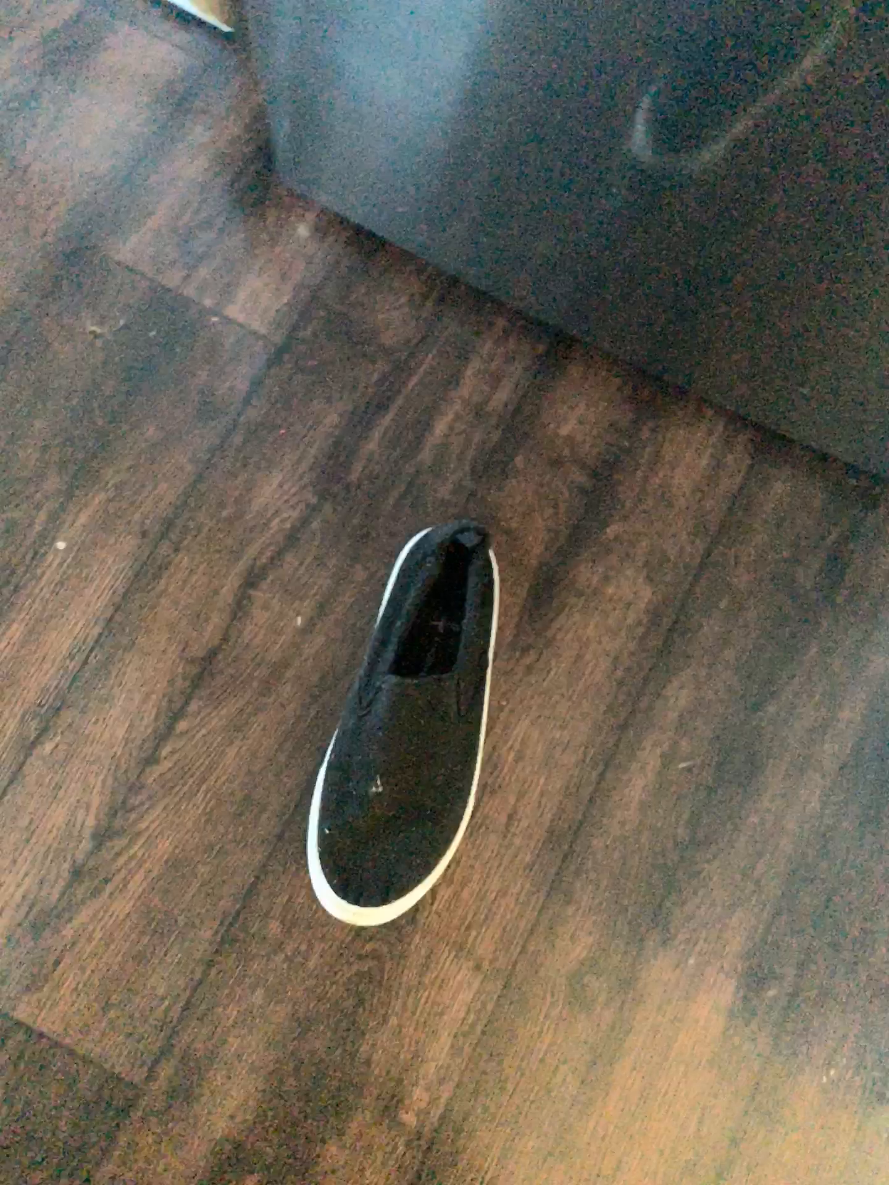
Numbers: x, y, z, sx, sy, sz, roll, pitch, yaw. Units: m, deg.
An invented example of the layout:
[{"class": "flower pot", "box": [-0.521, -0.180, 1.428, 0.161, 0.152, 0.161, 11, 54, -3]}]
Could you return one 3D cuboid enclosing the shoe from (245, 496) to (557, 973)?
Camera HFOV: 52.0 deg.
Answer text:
[{"class": "shoe", "box": [-0.022, 0.079, 0.536, 0.100, 0.080, 0.239, 18, 78, 0]}]
